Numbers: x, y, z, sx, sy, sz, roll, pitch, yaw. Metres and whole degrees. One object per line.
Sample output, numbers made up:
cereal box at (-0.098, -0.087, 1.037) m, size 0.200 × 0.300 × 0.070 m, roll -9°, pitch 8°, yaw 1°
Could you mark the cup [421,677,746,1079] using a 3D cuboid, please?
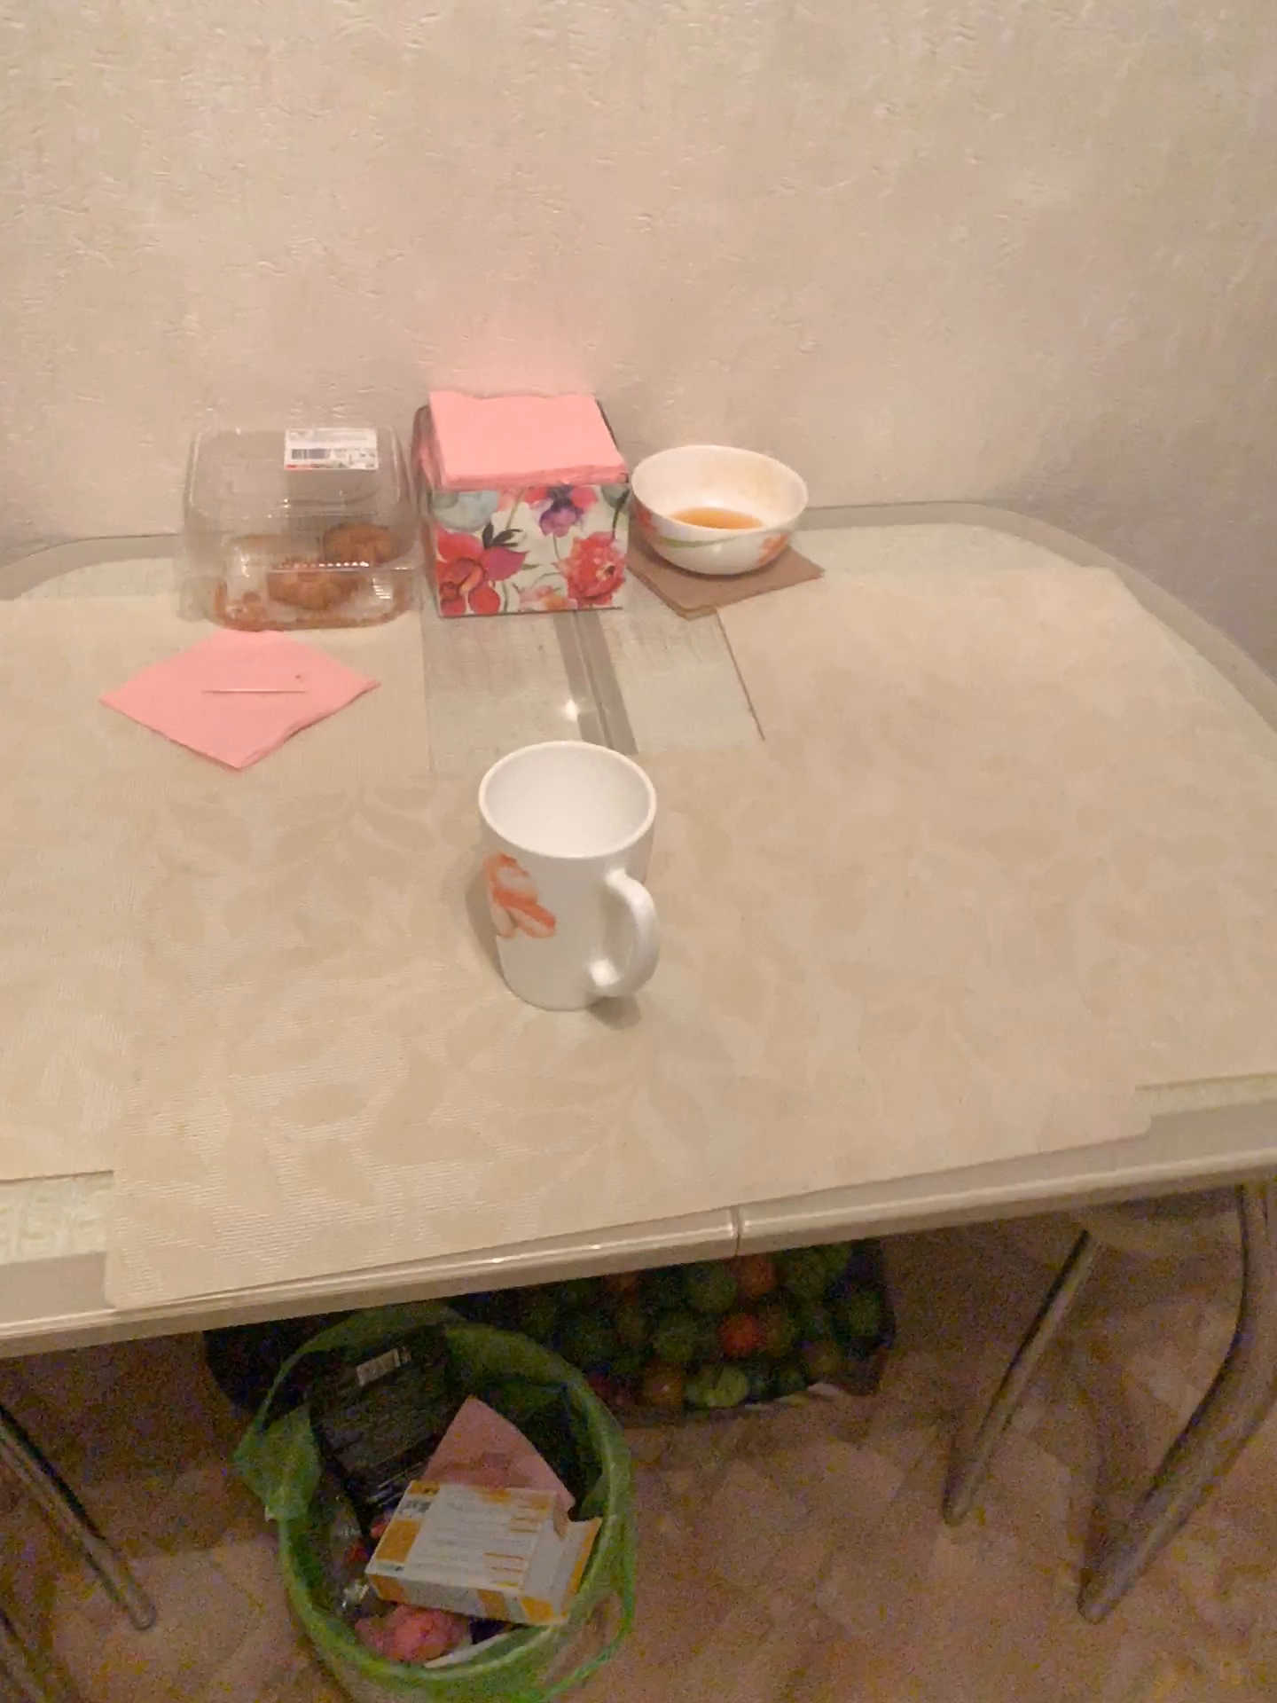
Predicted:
cup at (-0.027, 0.009, 0.581) m, size 0.080 × 0.109 × 0.121 m, roll -26°, pitch 50°, yaw -29°
